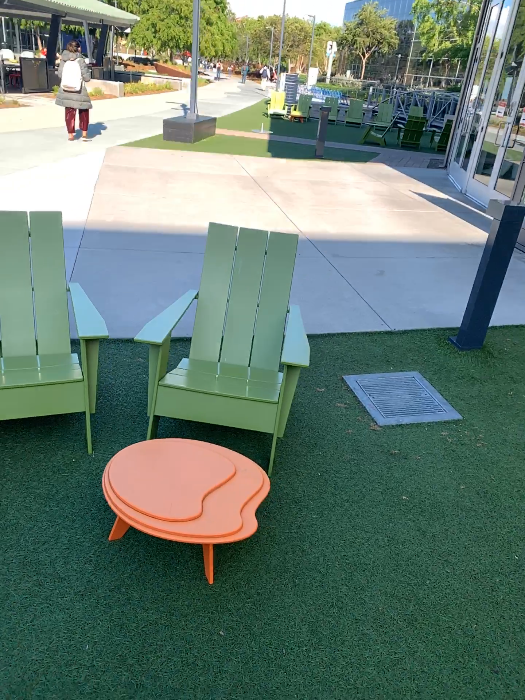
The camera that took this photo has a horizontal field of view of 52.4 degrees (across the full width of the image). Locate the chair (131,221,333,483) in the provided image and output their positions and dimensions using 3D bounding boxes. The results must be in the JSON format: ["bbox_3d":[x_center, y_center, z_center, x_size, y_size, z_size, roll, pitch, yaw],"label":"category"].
[{"bbox_3d":[-0.116,-0.046,2.565,0.710,0.855,0.855,10,28,7],"label":"chair"}]
